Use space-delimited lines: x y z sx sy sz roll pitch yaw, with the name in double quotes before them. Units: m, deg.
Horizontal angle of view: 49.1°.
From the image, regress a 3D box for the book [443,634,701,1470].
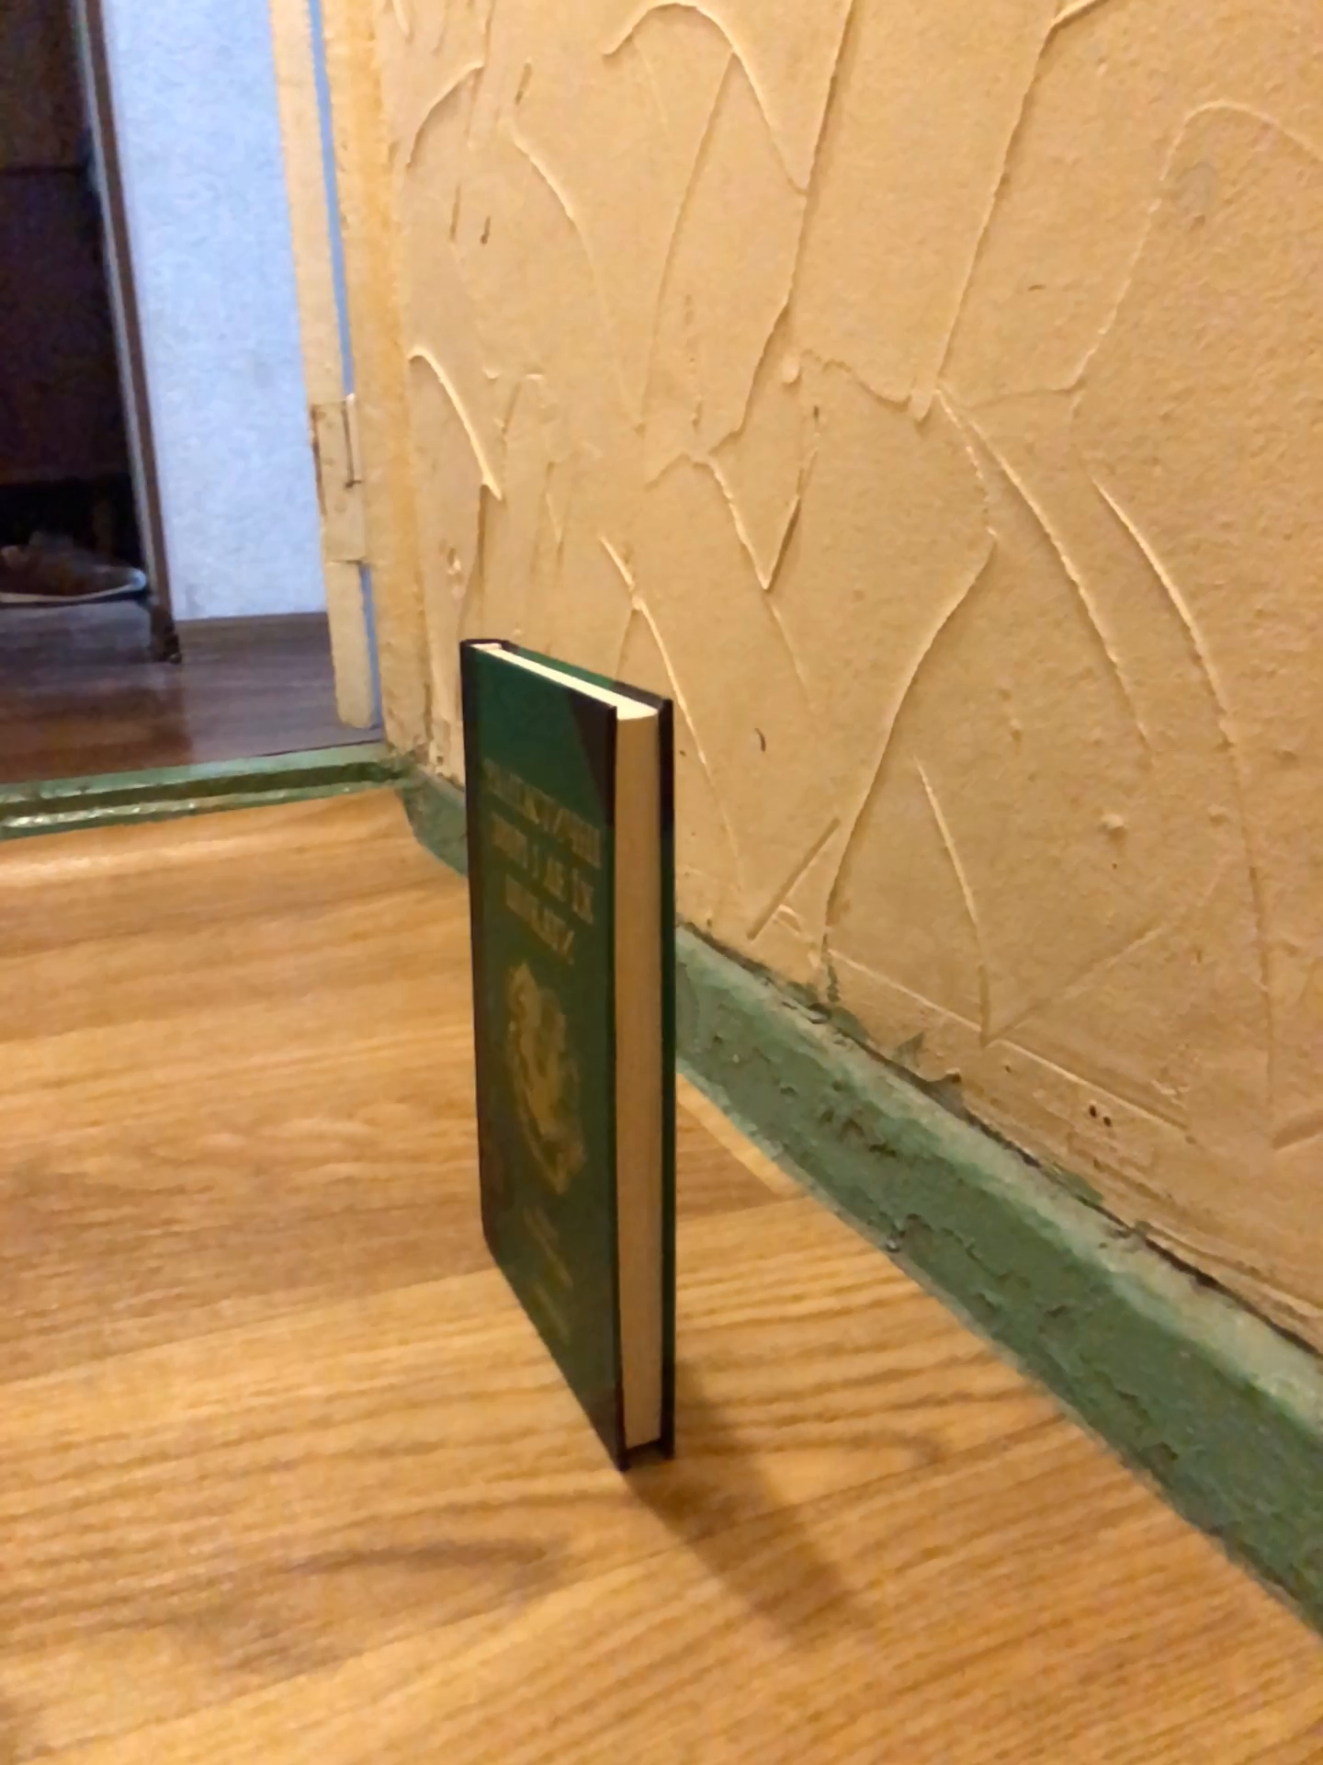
"book" -0.030 0.035 0.416 0.024 0.197 0.148 -6 16 -21
